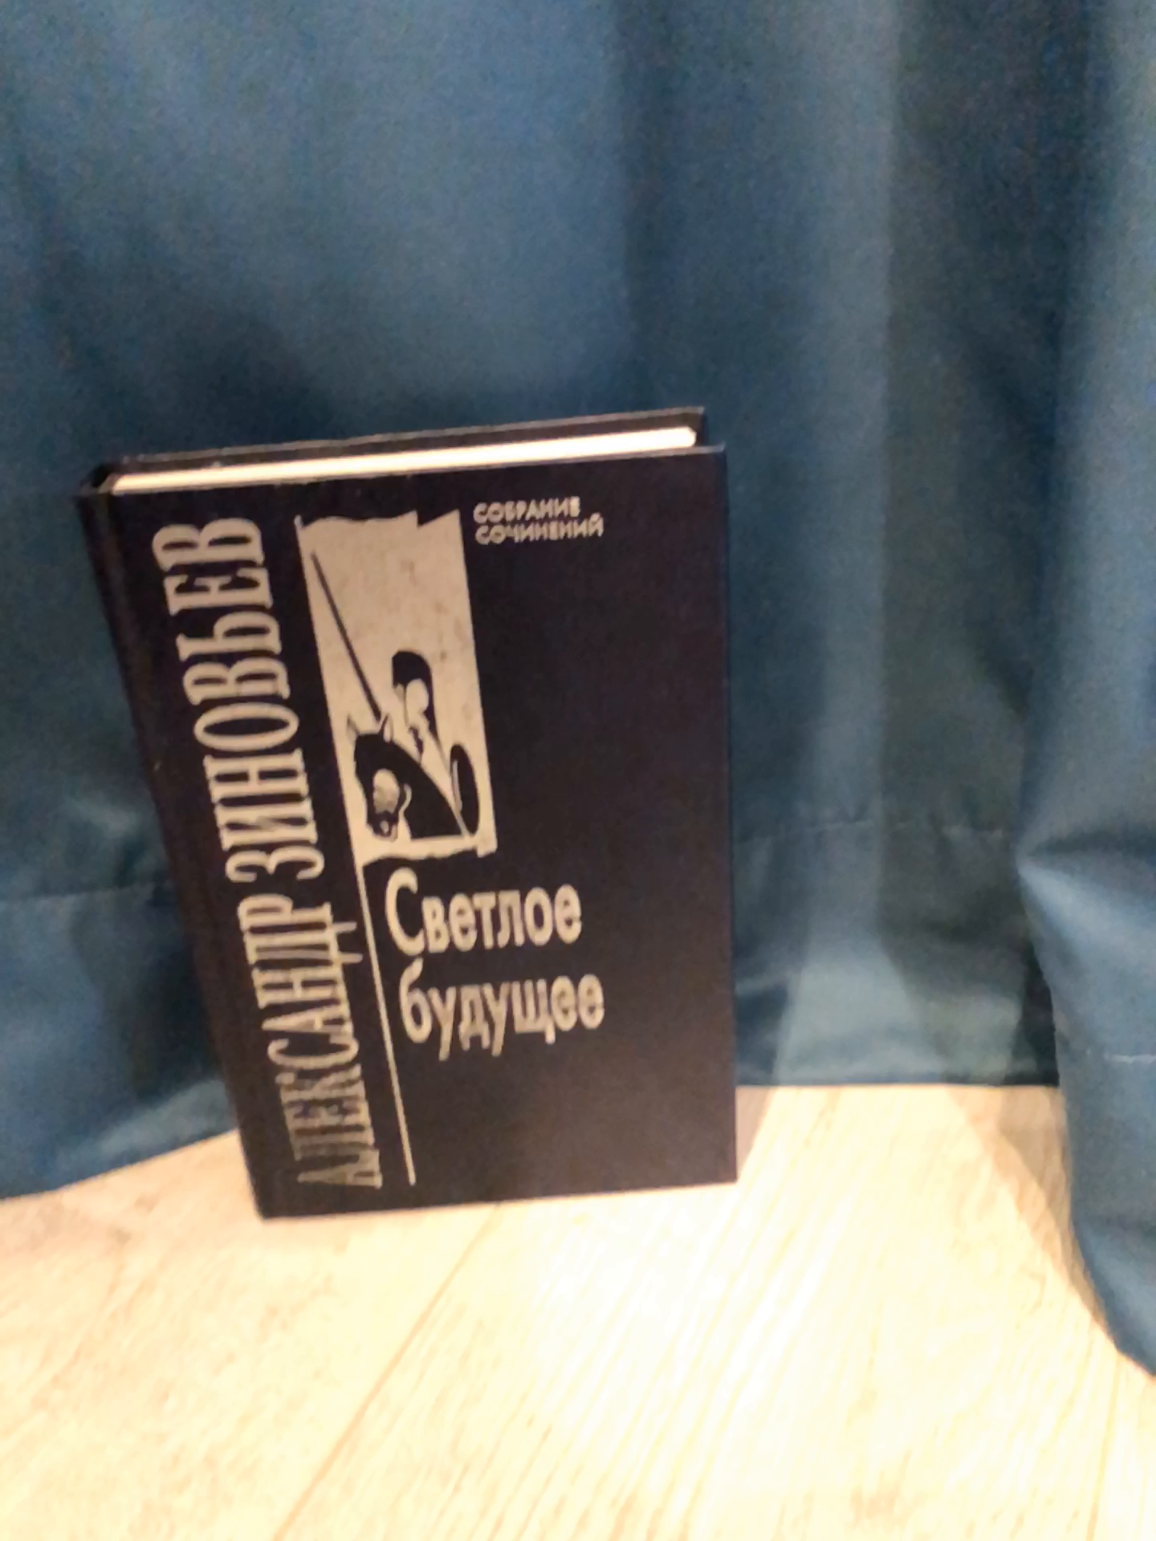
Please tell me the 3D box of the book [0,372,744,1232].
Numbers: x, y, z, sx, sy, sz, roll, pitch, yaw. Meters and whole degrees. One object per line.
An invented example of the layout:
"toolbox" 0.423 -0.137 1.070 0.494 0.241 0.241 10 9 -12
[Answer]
"book" -0.039 0.016 0.309 0.150 0.199 0.040 -5 26 -1
